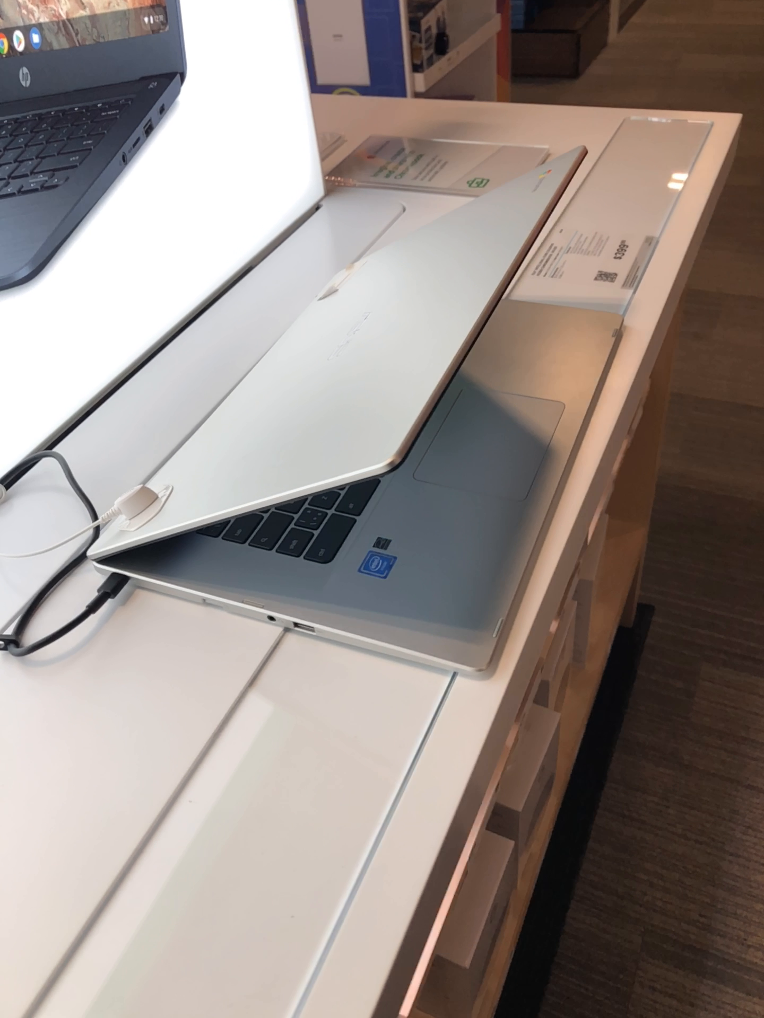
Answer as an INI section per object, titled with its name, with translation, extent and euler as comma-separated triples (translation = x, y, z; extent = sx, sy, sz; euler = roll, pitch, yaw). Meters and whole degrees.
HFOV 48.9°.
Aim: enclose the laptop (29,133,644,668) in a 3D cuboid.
[laptop]
translation = 0.006, -0.101, 0.523
extent = 0.221, 0.113, 0.342
euler = 15, 48, 20
